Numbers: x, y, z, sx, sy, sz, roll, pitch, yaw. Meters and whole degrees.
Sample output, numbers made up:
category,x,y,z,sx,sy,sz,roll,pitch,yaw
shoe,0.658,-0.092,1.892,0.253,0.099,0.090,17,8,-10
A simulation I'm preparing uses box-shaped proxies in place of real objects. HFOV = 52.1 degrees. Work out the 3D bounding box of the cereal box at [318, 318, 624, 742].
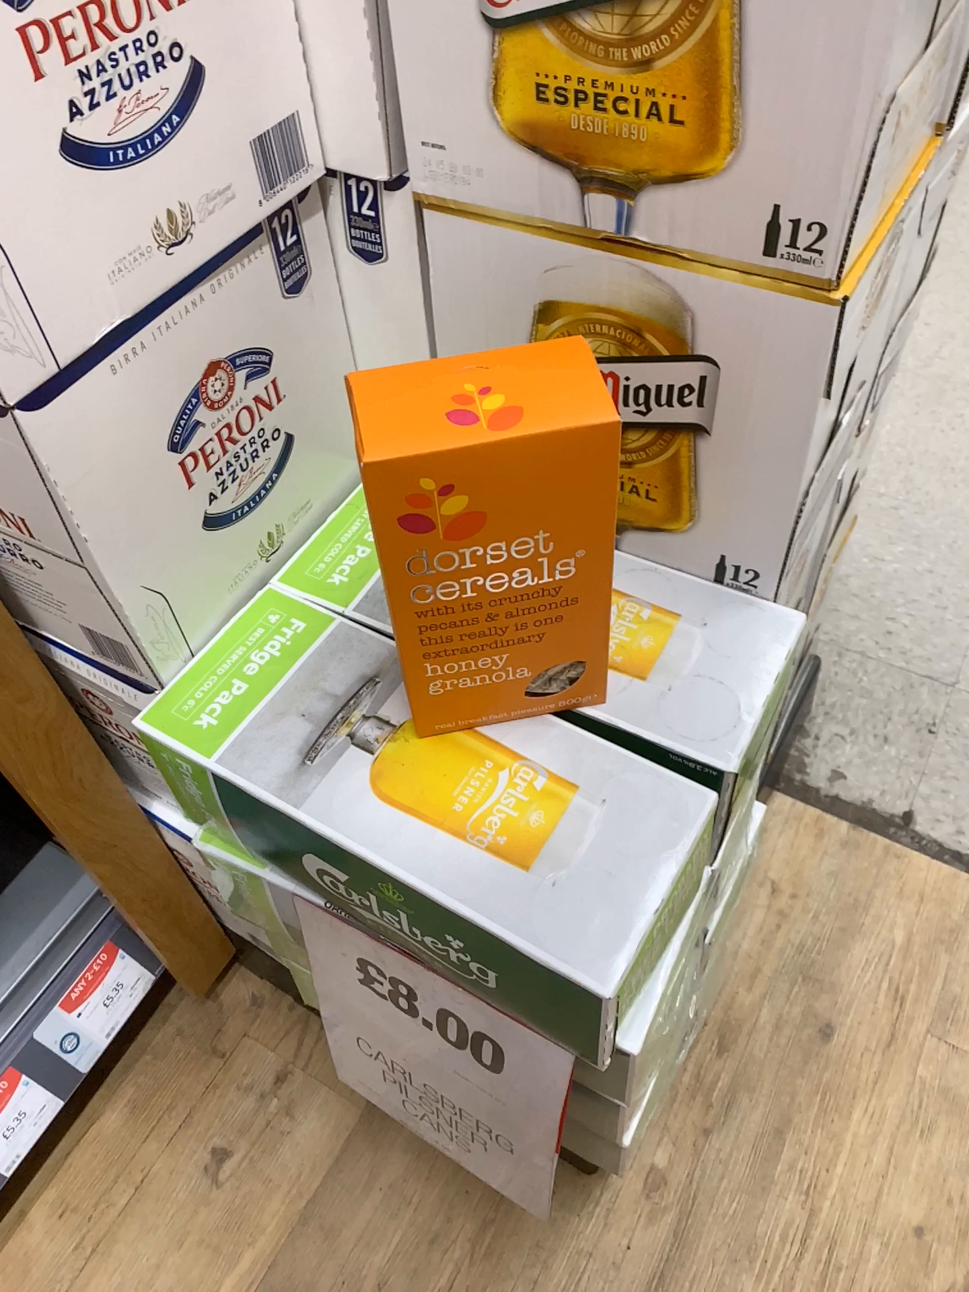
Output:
category,x,y,z,sx,sy,sz,roll,pitch,yaw
cereal box,-0.001,-0.047,0.496,0.120,0.198,0.071,-11,51,-3
